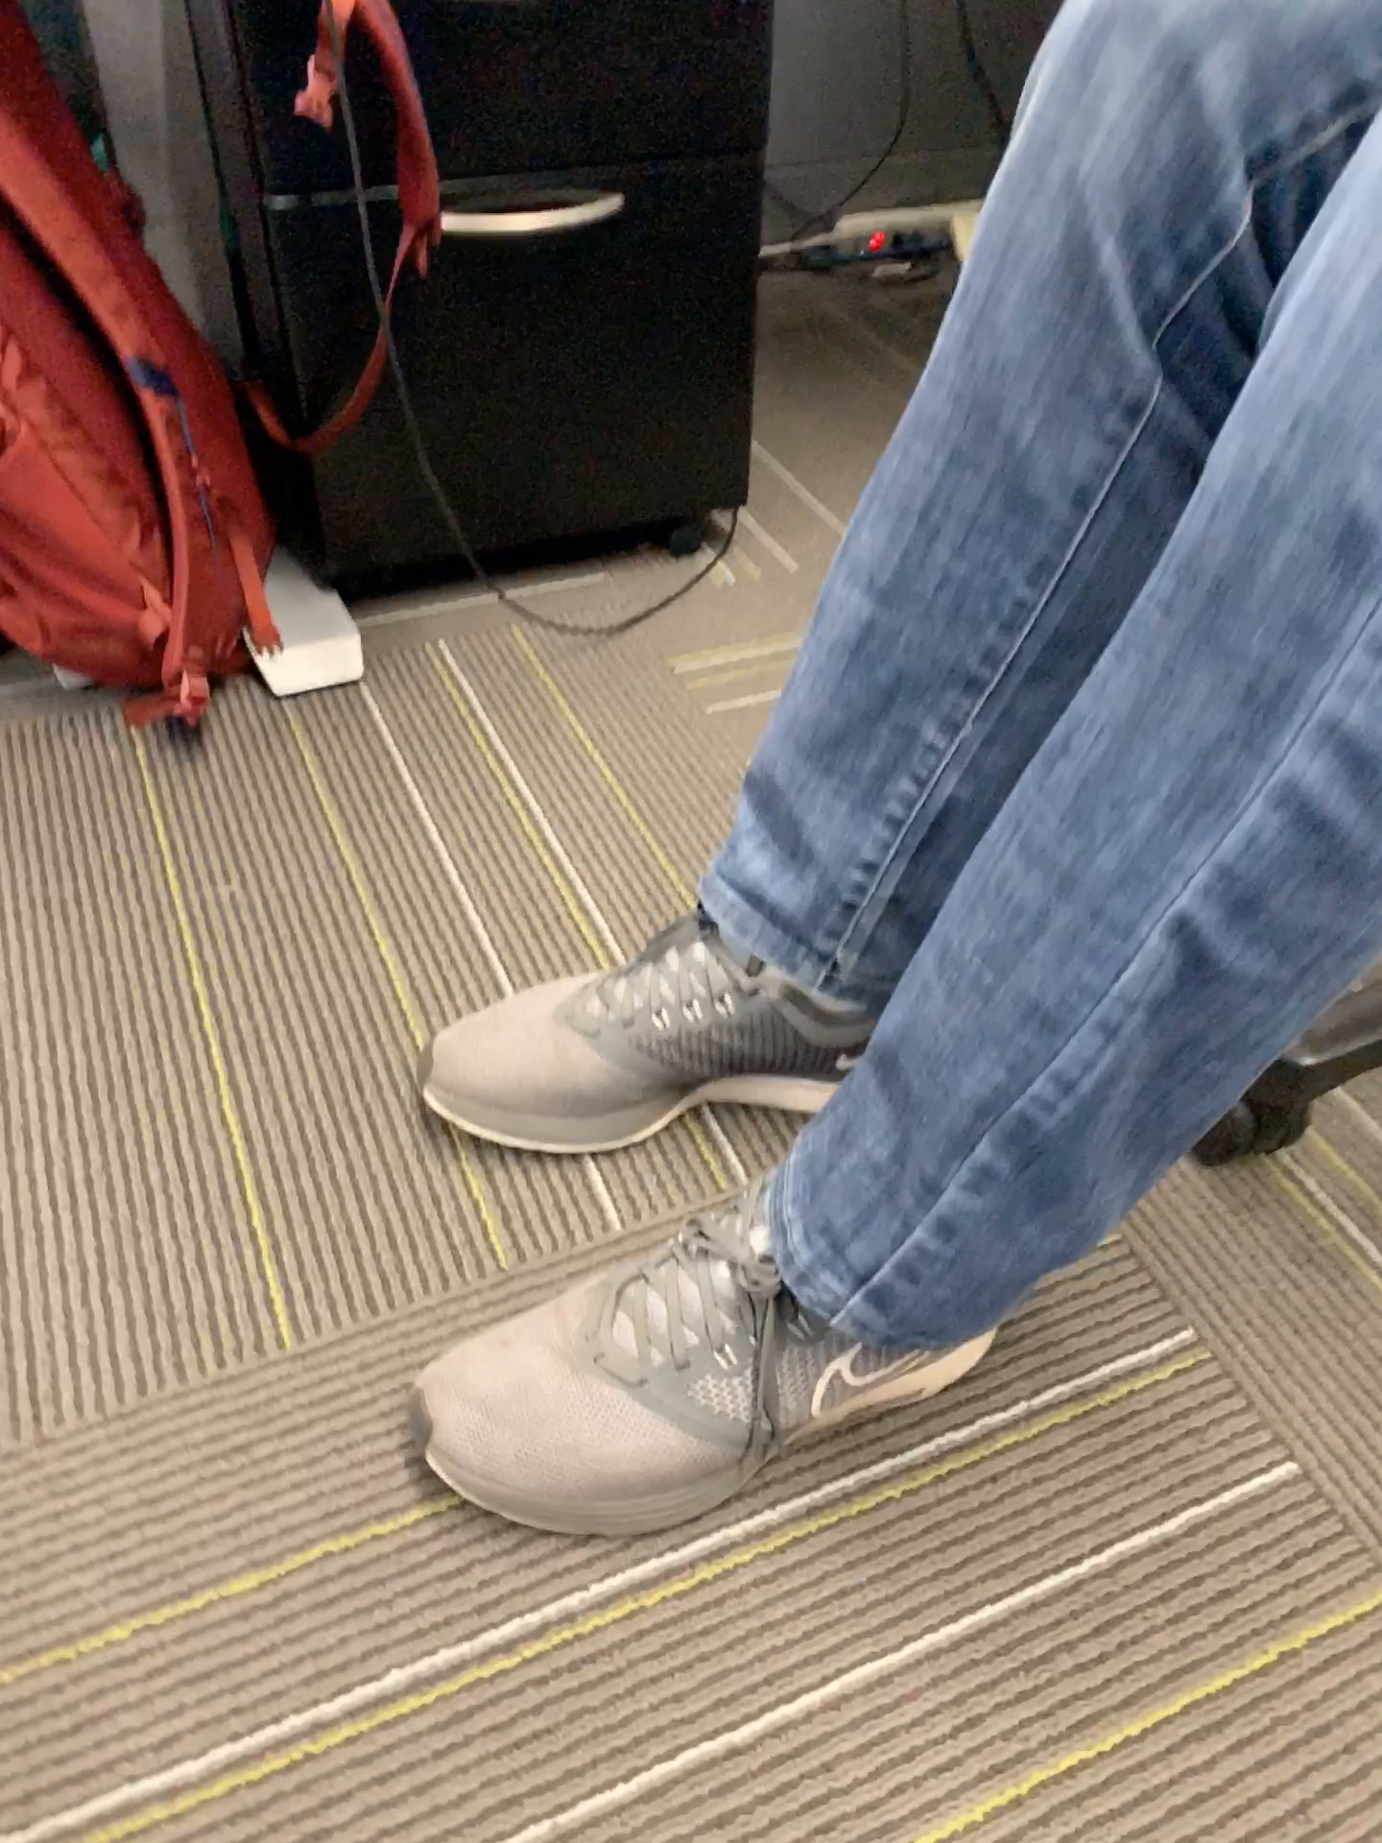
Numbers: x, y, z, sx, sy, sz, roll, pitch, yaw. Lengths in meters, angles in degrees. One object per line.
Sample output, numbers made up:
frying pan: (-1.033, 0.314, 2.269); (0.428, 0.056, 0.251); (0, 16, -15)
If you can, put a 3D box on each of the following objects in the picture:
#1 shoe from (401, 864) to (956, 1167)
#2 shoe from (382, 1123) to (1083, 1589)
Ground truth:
shoe: (-0.012, 0.048, 0.793); (0.283, 0.078, 0.133); (-4, 42, -6)
shoe: (0.014, 0.192, 0.650); (0.286, 0.078, 0.125); (-9, 43, -12)
